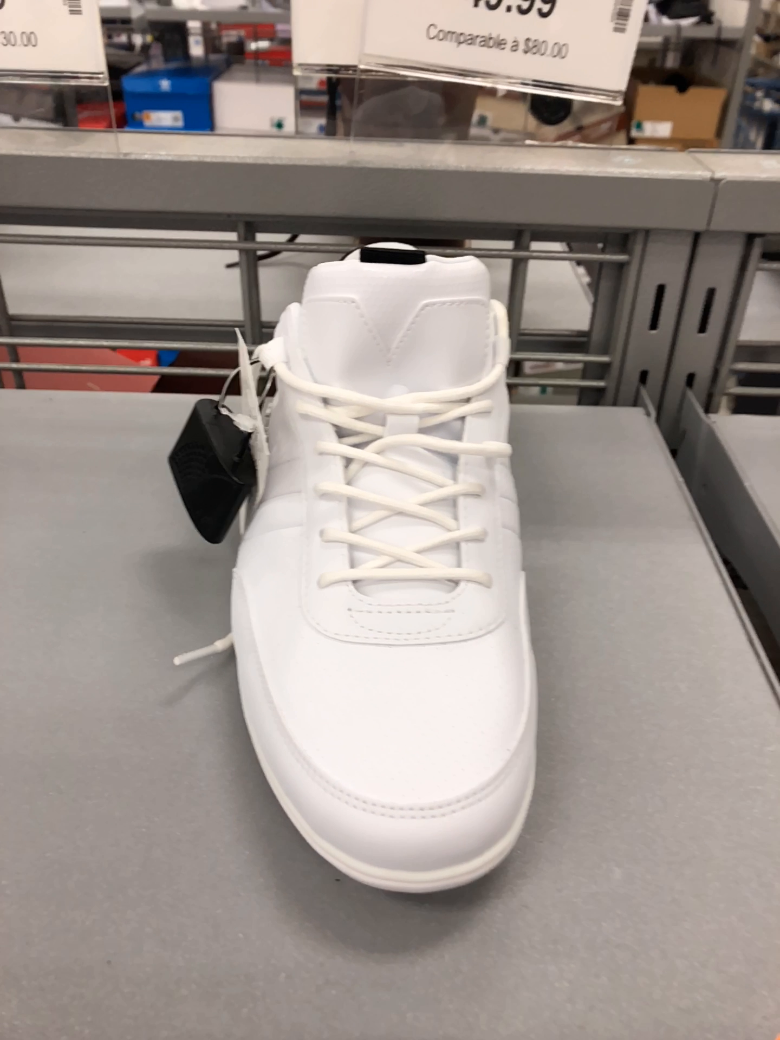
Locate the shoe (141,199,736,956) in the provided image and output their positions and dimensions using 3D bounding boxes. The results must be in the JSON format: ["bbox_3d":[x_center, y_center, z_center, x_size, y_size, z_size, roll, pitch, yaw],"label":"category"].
[{"bbox_3d":[-0.001,-0.016,0.304,0.110,0.119,0.272,-1,34,-4],"label":"shoe"}]
